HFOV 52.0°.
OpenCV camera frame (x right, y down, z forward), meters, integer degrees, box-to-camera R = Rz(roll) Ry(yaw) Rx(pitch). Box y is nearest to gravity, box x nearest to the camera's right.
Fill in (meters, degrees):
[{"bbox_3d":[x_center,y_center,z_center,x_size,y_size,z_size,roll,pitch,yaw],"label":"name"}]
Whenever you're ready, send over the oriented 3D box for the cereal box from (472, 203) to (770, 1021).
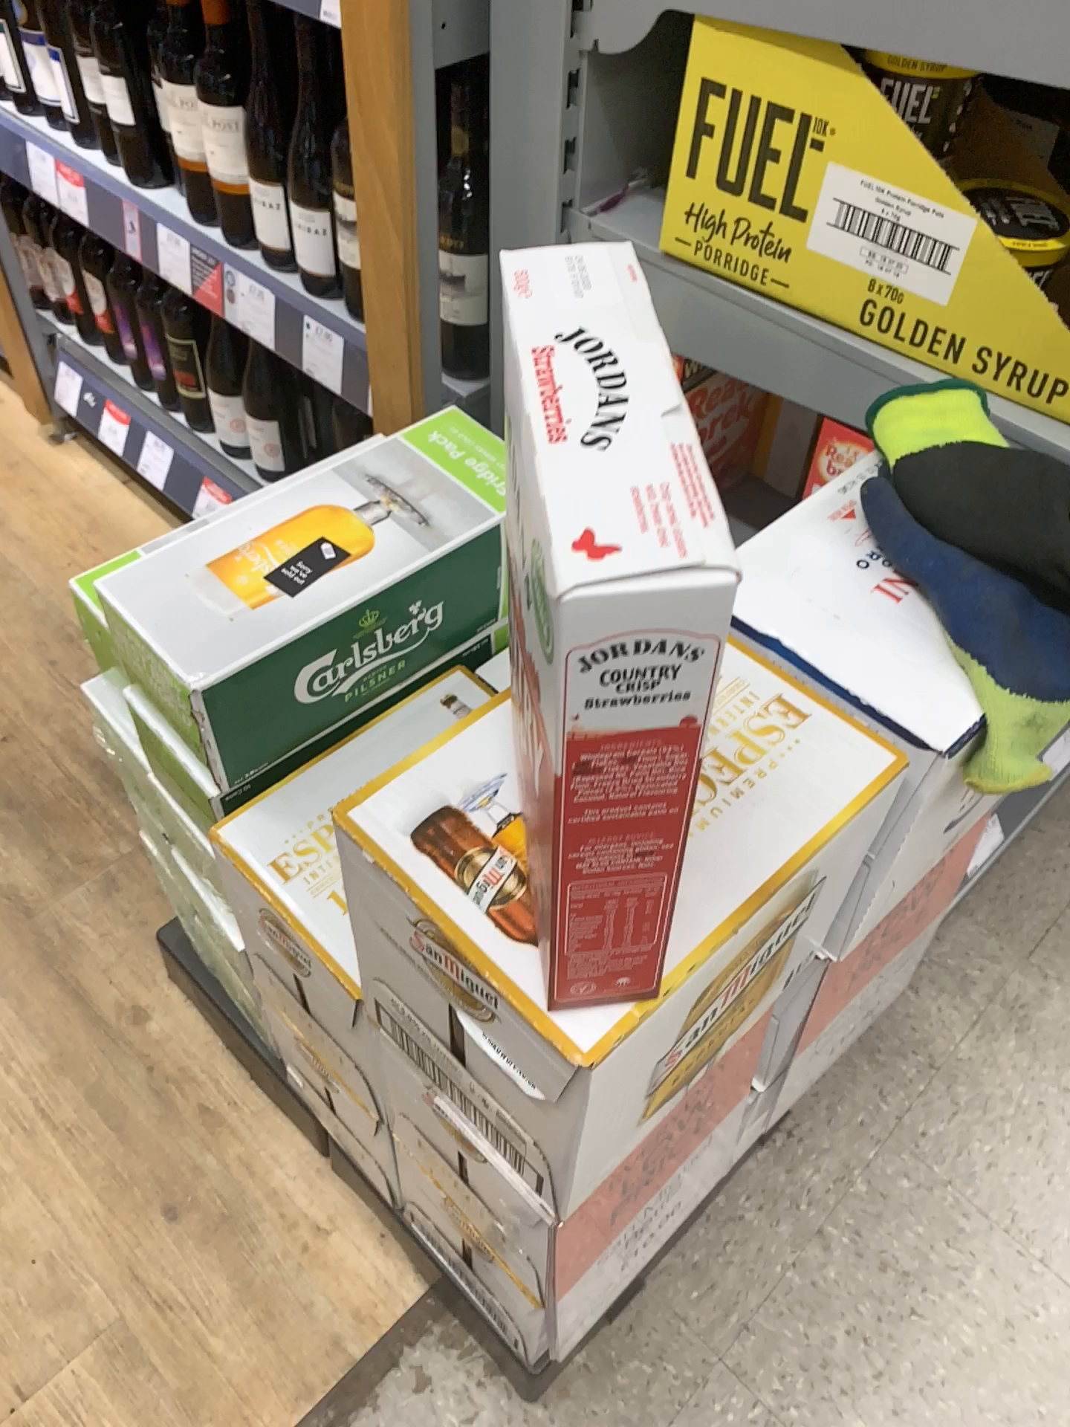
[{"bbox_3d":[0.018,-0.027,0.424,0.060,0.248,0.192,-5,51,-4],"label":"cereal box"}]
